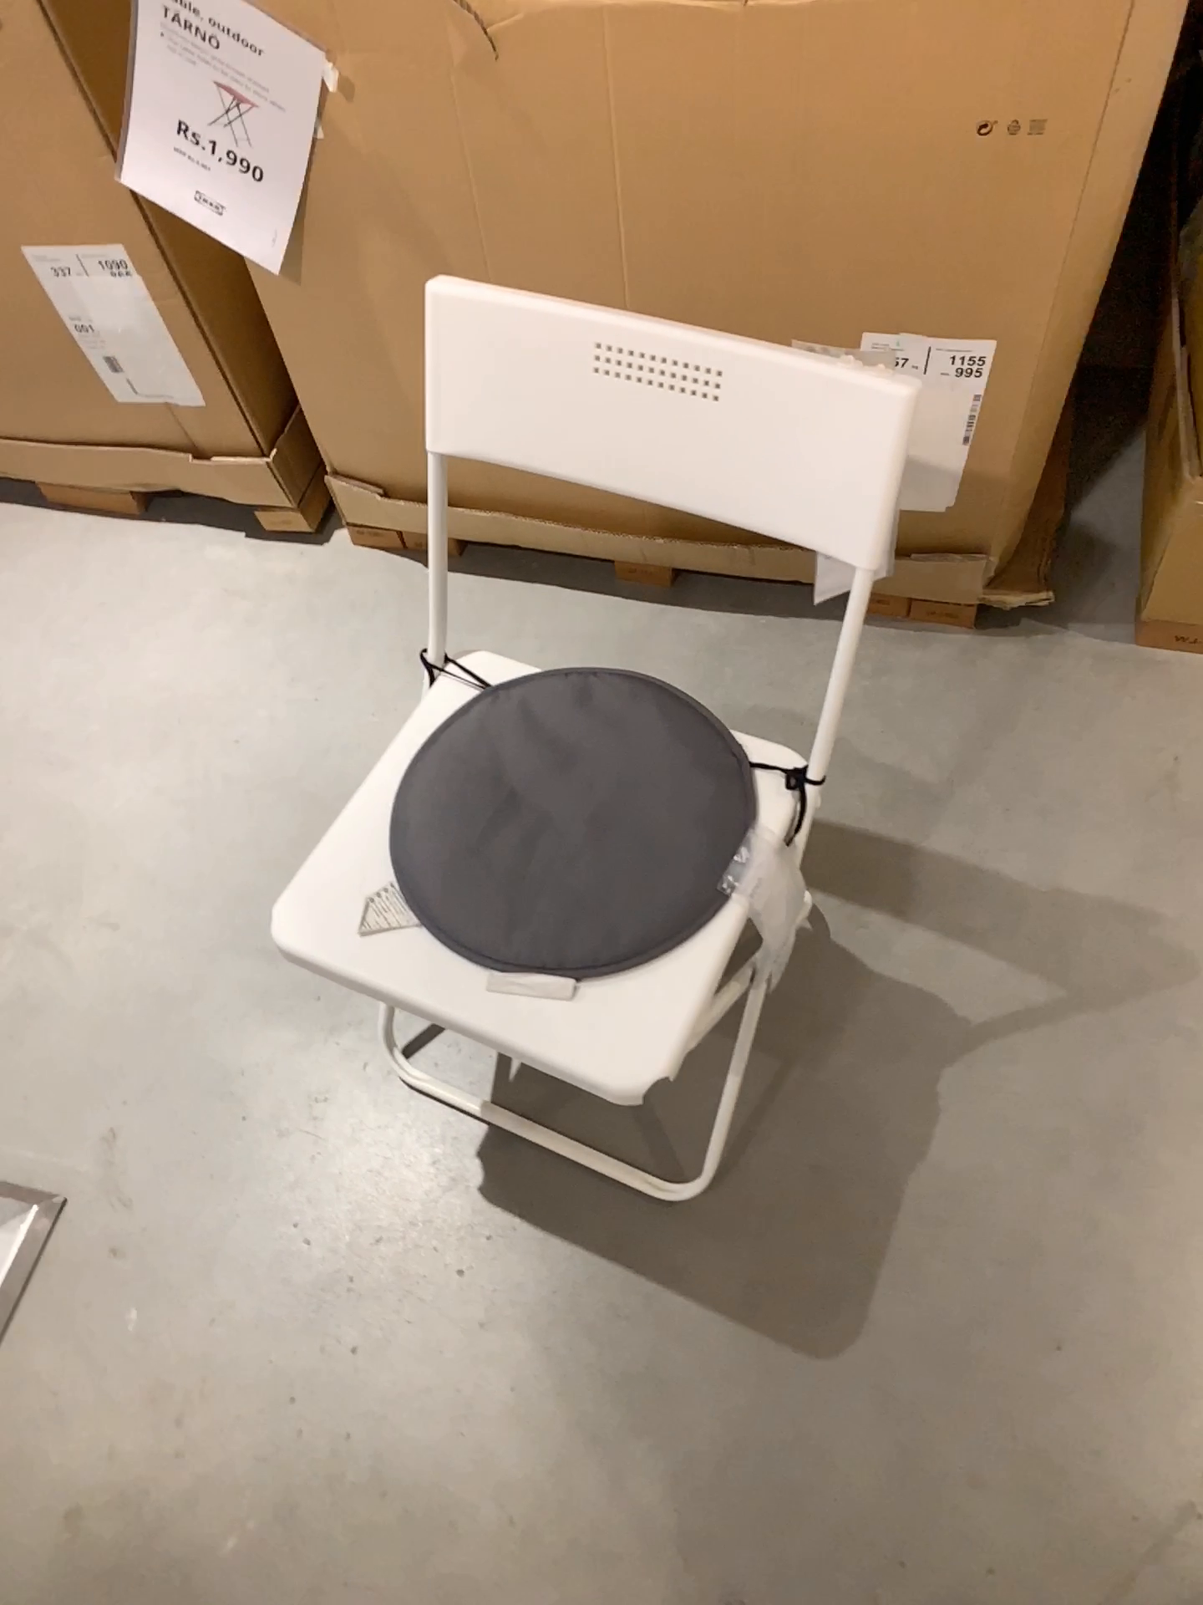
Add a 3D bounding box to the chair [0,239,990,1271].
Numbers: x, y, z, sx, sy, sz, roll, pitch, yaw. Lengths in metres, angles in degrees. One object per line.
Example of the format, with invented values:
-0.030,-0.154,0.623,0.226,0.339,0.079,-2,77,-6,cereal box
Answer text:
-0.024,0.009,1.112,0.491,0.738,0.481,20,62,18,chair
